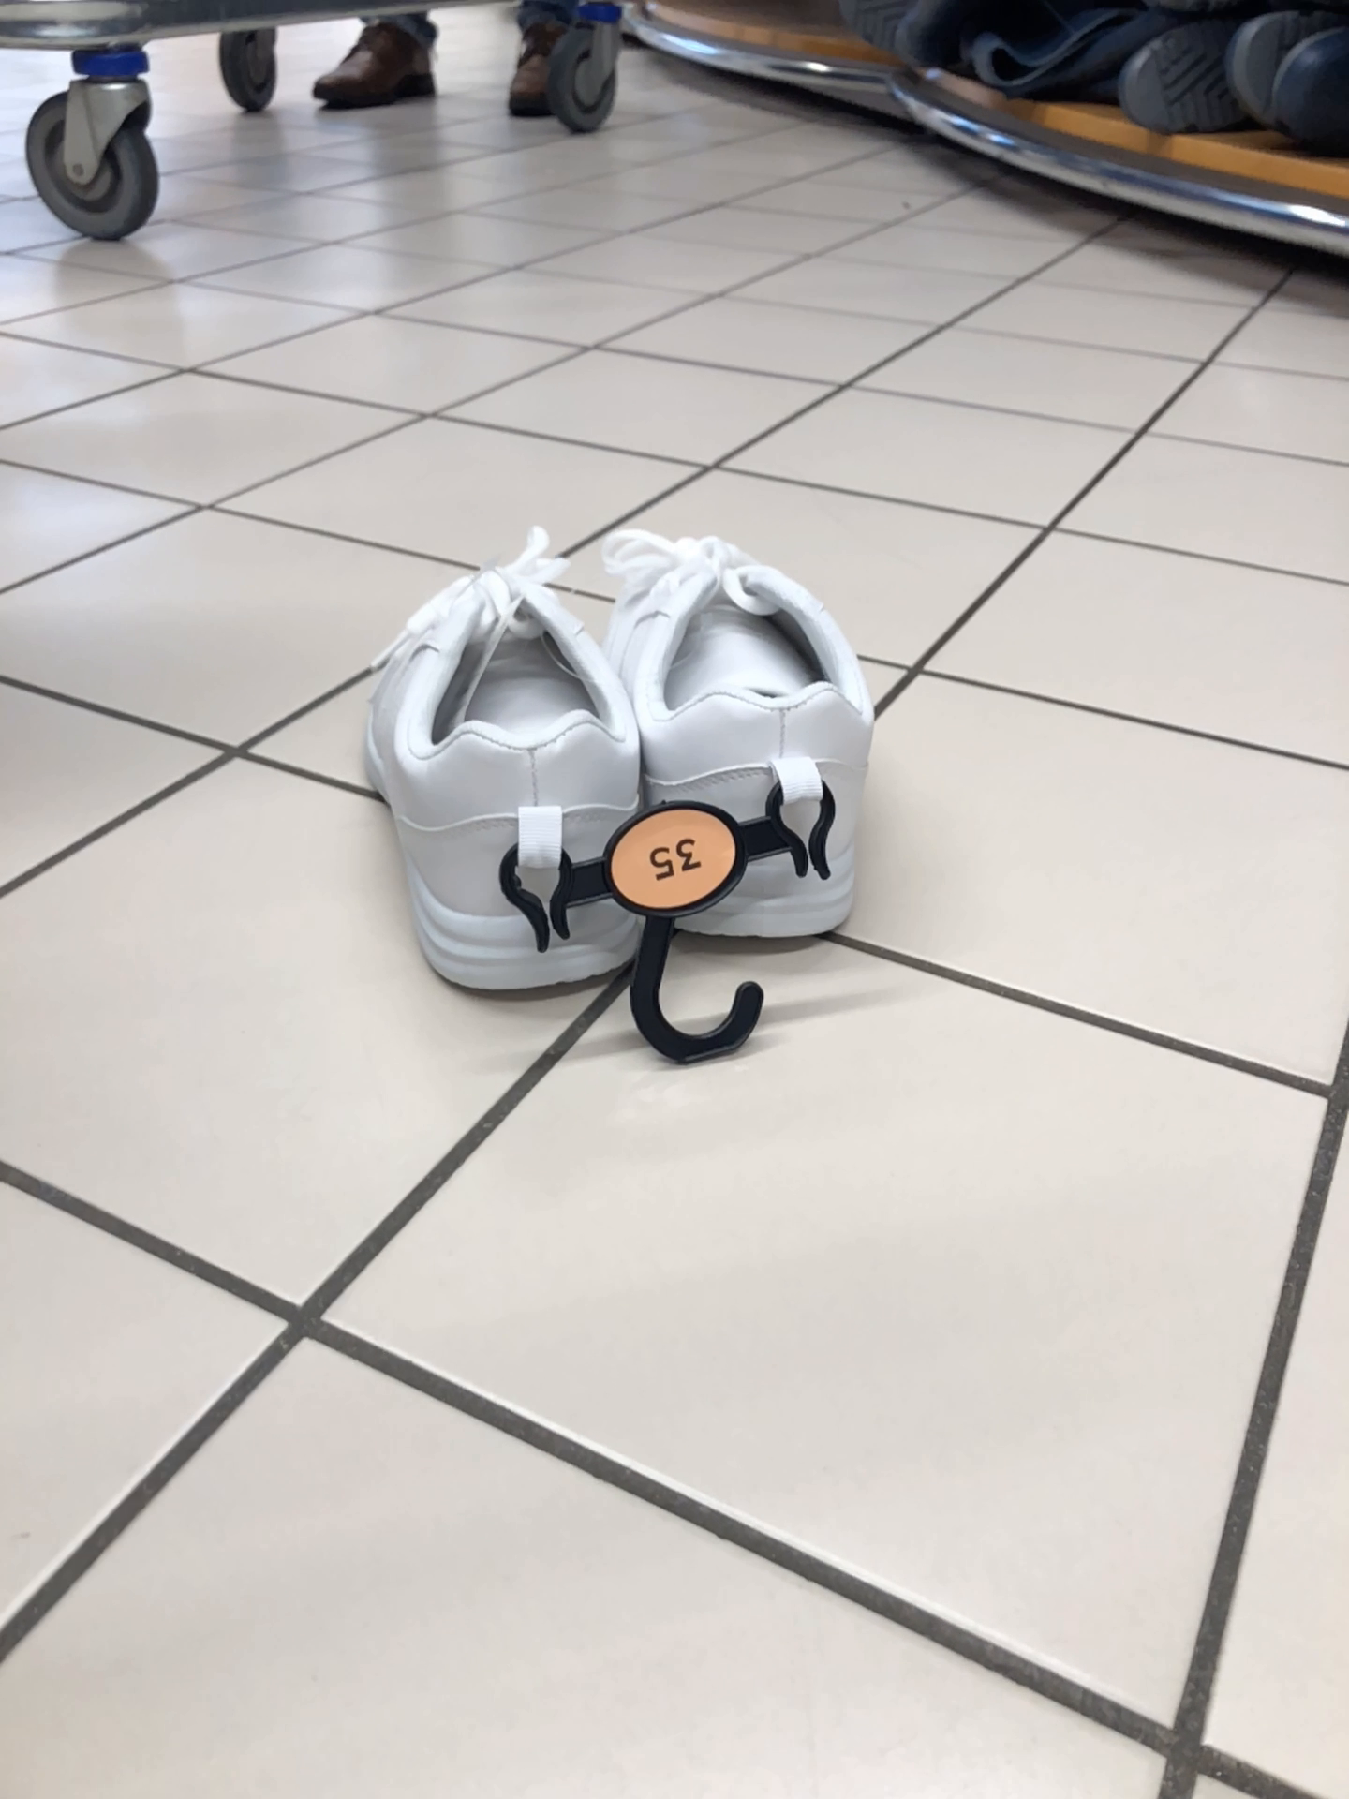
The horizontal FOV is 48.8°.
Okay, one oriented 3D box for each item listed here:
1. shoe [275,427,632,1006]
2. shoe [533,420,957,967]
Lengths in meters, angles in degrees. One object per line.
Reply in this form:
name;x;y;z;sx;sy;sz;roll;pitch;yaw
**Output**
shoe;-0.079;-0.078;0.502;0.090;0.089;0.241;-5;34;-10
shoe;0.010;-0.088;0.523;0.090;0.089;0.241;-5;34;-10
